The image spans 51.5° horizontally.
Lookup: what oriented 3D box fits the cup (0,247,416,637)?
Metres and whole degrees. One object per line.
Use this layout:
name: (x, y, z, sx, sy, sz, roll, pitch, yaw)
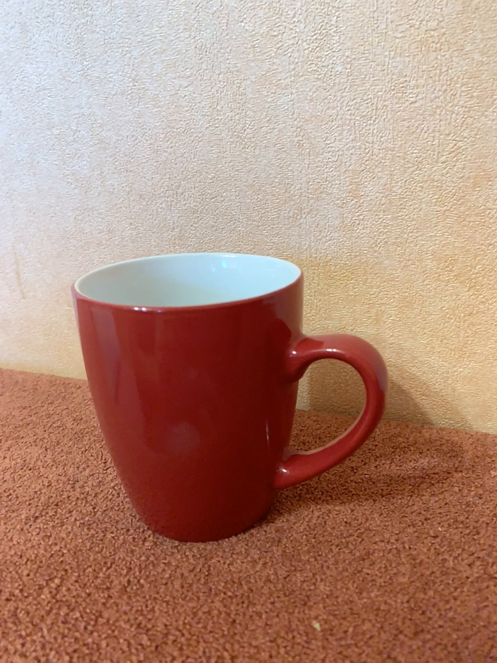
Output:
cup: (-0.009, 0.024, 0.189, 0.122, 0.091, 0.083, 5, 22, 24)
